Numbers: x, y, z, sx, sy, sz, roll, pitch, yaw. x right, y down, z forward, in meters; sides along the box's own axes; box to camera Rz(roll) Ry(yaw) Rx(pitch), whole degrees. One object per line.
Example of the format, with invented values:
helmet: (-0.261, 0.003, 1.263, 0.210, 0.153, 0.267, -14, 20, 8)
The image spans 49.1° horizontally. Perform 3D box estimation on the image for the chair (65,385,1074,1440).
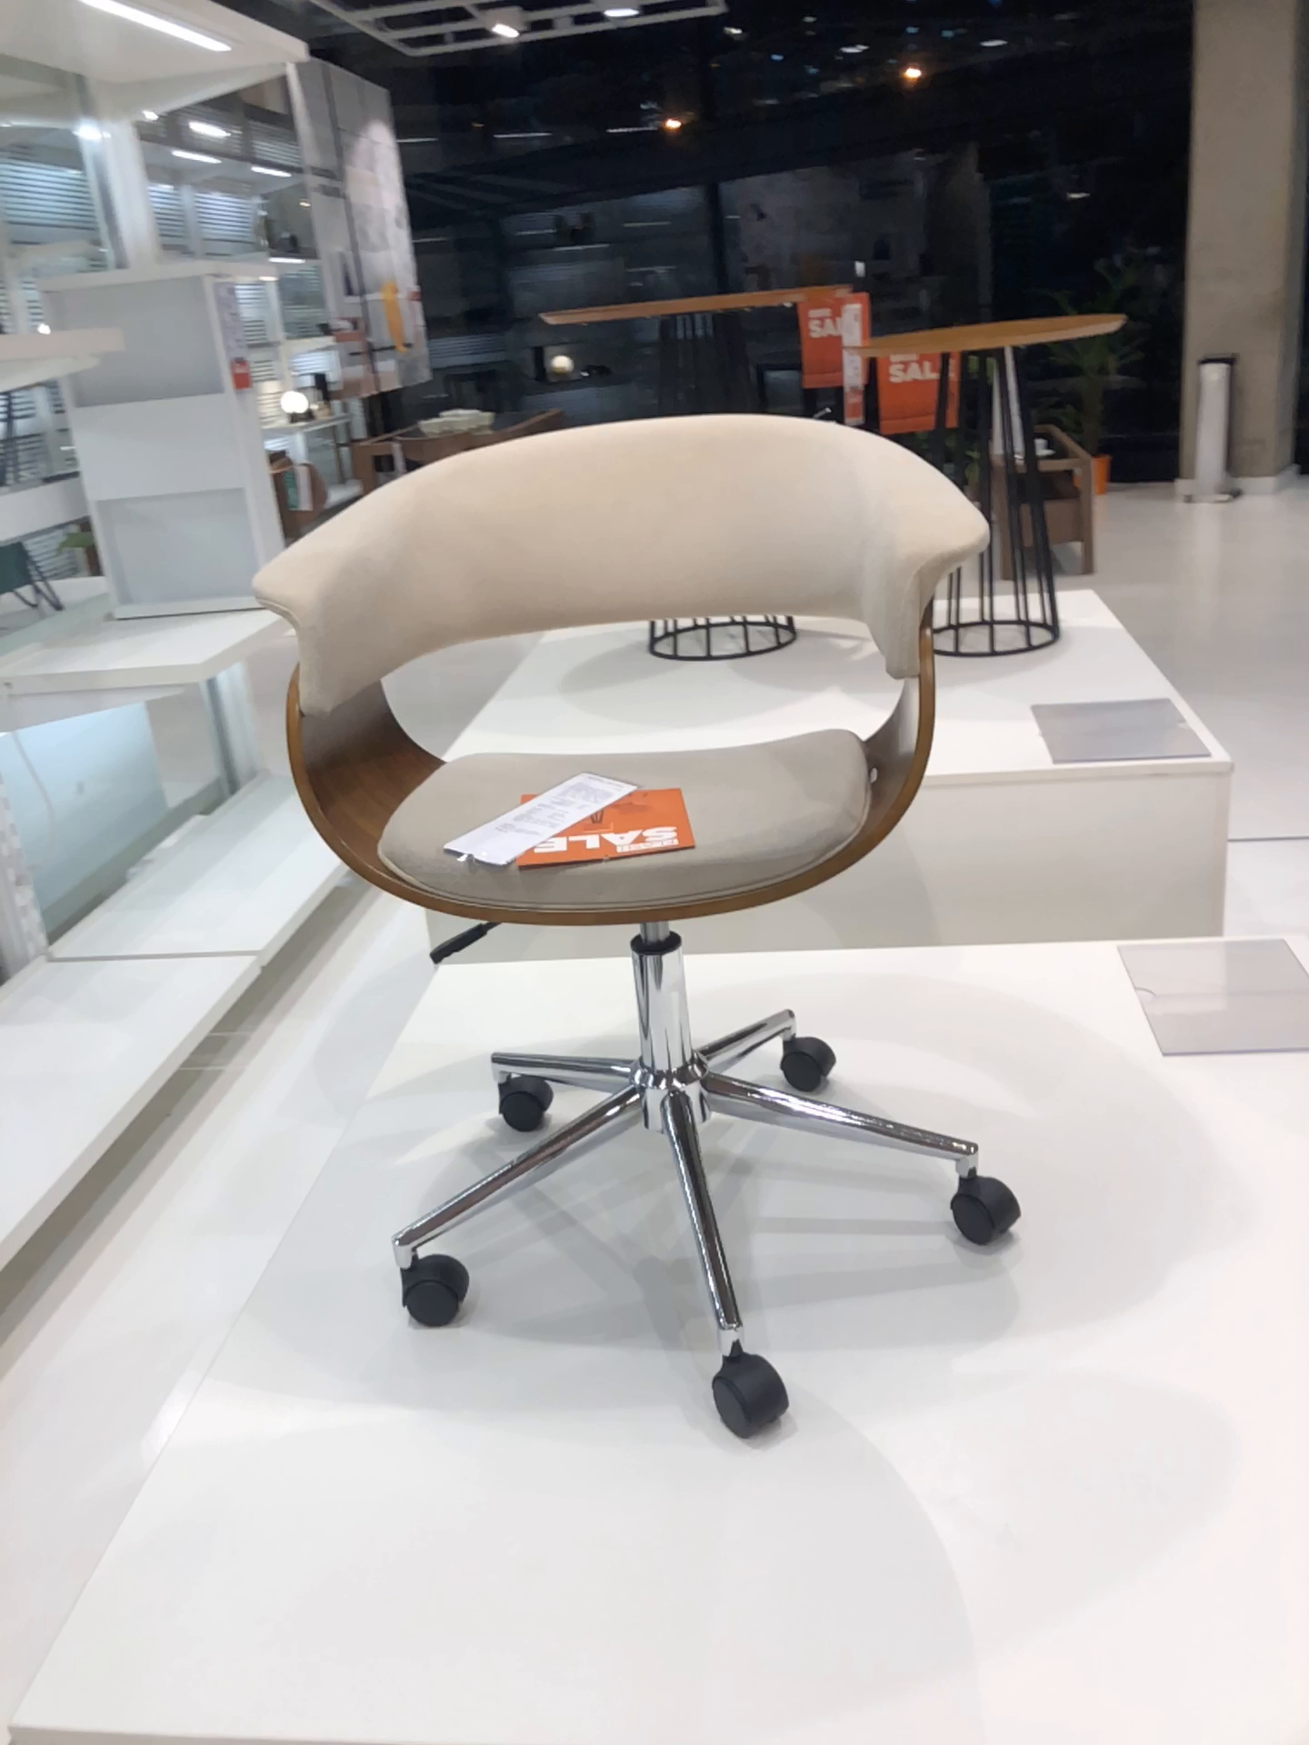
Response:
chair: (0.002, -0.018, 1.316, 0.630, 0.725, 0.674, -3, 21, 7)
